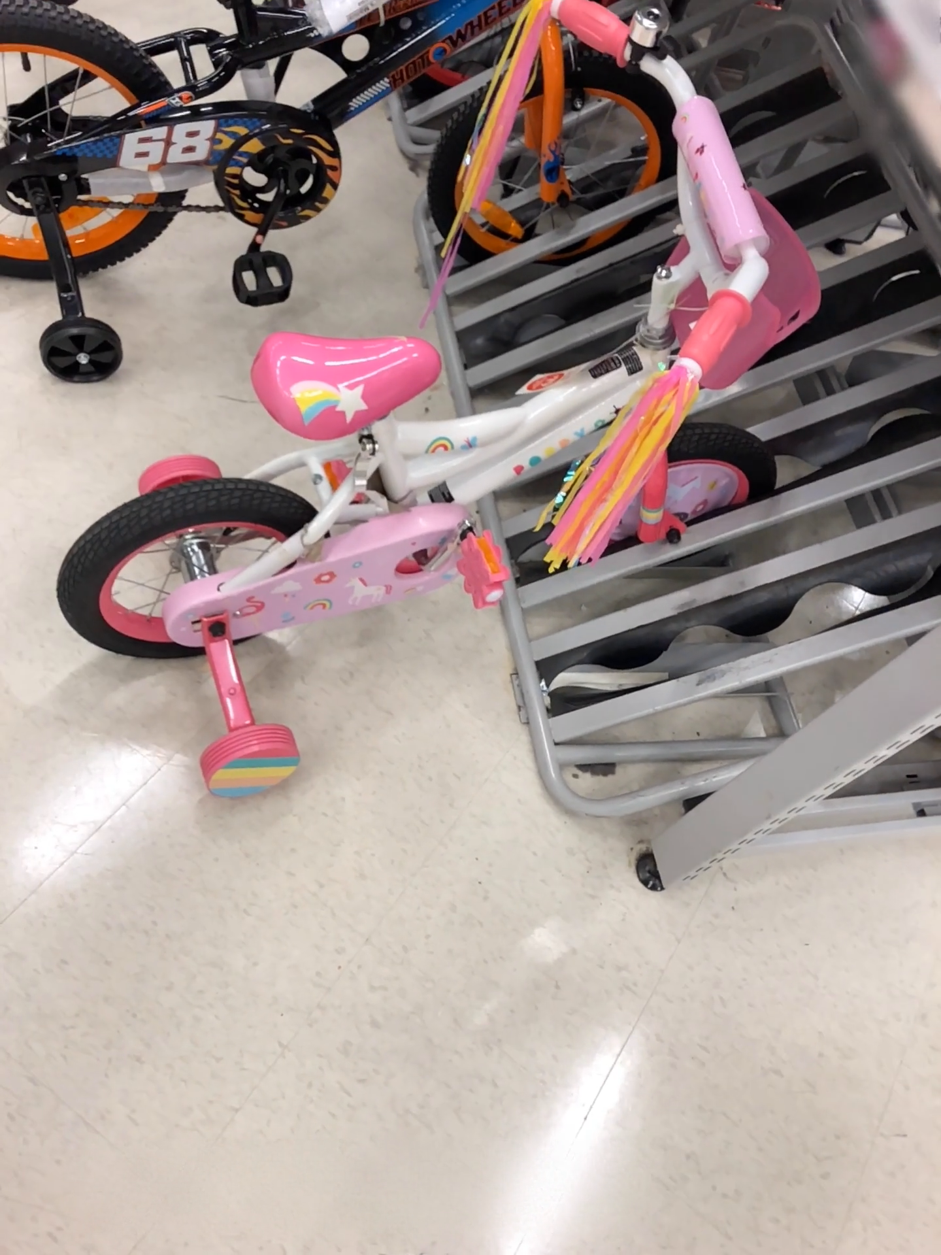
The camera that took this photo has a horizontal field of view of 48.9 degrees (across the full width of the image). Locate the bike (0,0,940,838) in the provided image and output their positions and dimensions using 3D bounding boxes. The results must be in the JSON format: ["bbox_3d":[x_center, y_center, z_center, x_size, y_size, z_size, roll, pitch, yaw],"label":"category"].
[{"bbox_3d":[0.059,-0.232,1.096,0.944,0.592,0.517,-10,64,-24],"label":"bike"}]
